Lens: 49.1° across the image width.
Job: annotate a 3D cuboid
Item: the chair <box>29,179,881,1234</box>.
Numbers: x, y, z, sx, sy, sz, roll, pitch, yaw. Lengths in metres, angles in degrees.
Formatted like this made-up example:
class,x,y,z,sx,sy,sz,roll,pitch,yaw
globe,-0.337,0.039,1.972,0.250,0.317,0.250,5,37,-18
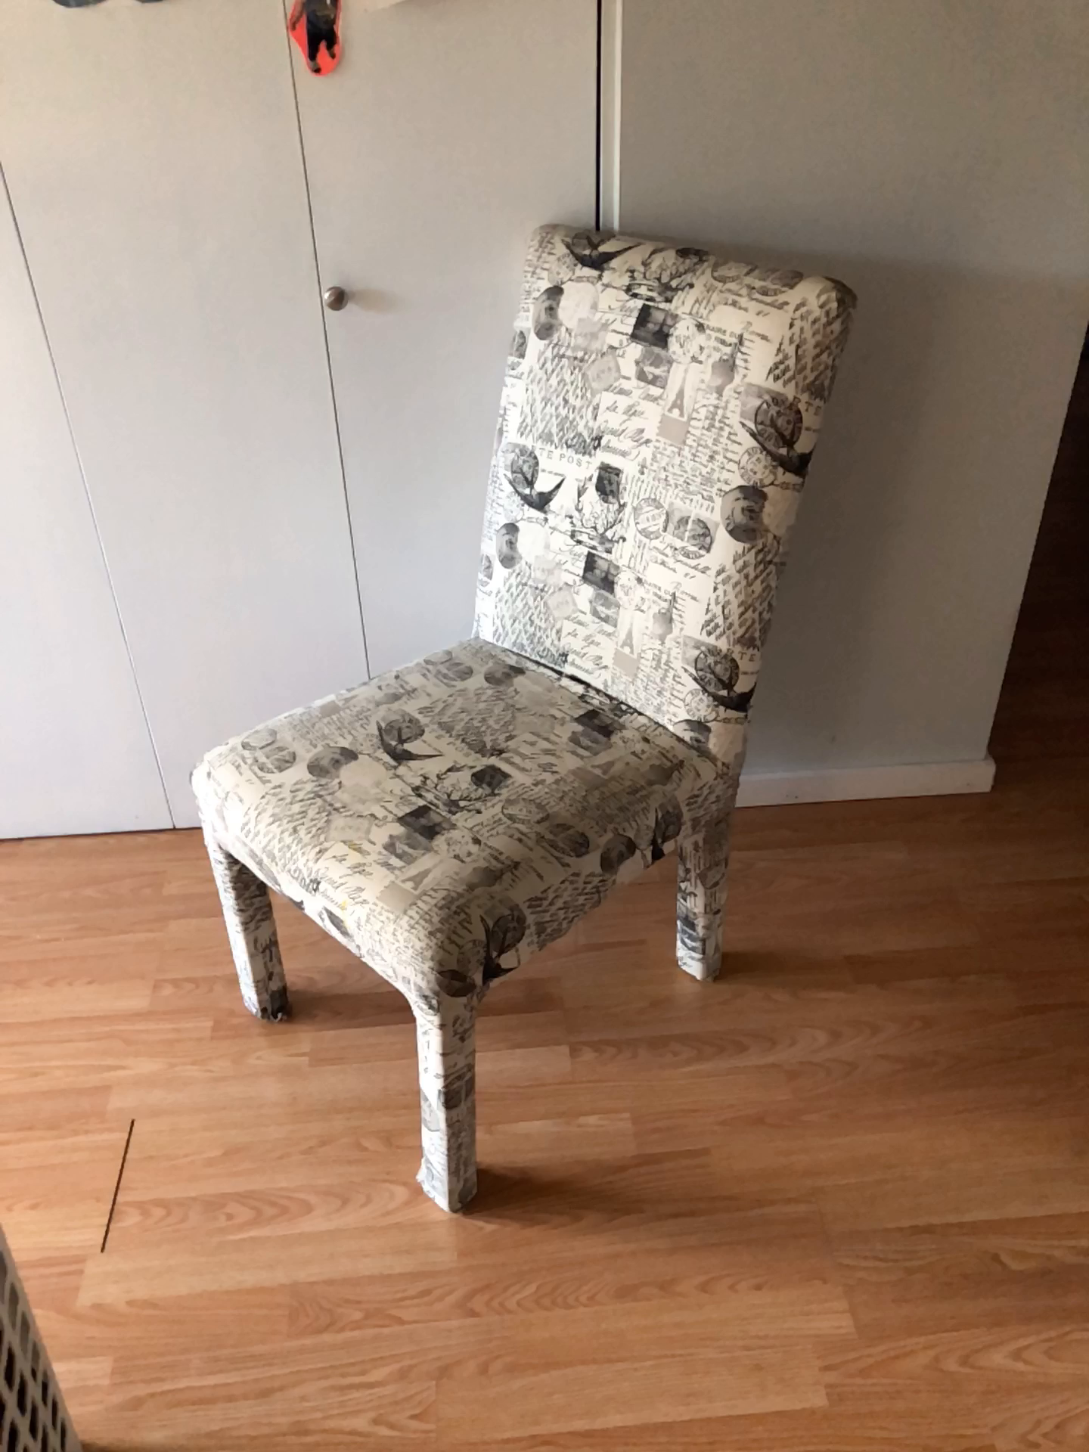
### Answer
class,x,y,z,sx,sy,sz,roll,pitch,yaw
chair,-0.067,-0.050,1.470,0.671,0.997,0.521,-30,44,-34
